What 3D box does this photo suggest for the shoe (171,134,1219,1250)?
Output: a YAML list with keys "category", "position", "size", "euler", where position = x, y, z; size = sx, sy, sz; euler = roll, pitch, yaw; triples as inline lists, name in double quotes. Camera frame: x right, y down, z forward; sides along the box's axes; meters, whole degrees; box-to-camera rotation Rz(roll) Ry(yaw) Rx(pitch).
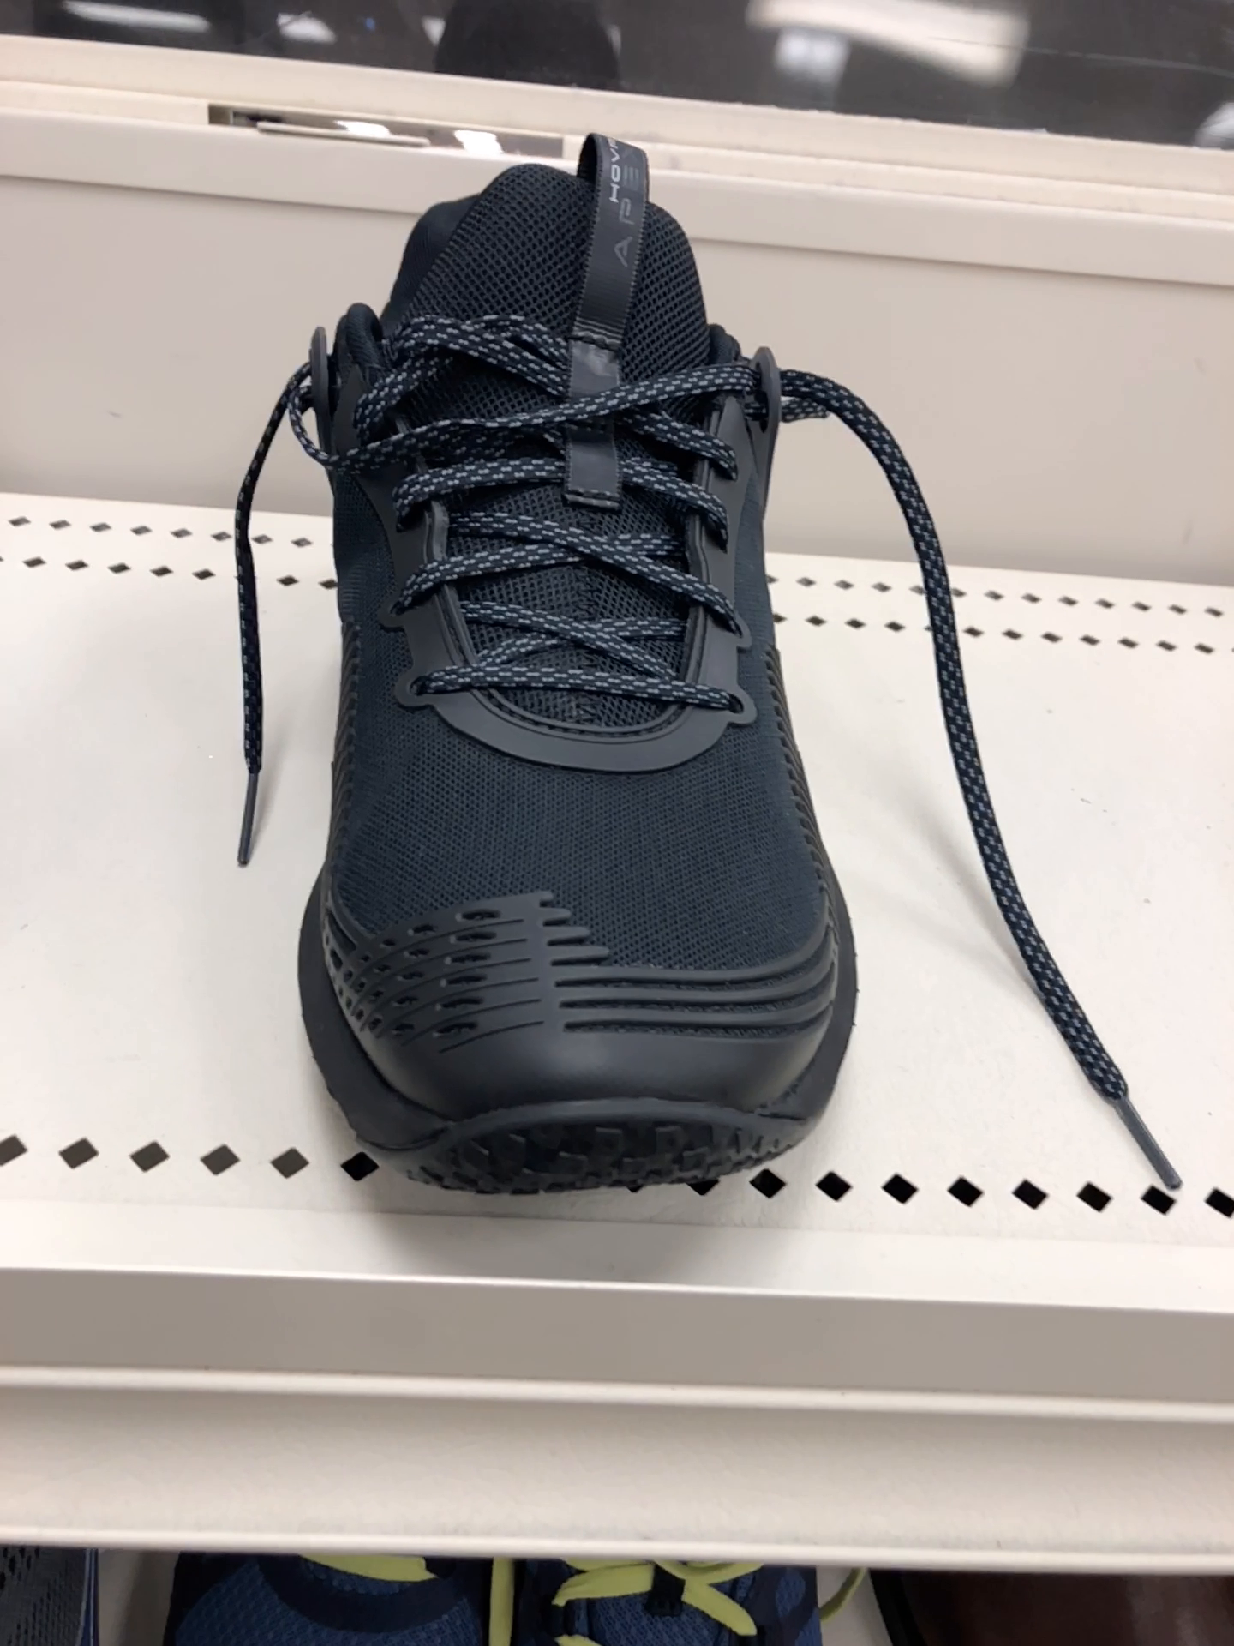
- category: "shoe"
  position: [-0.010, -0.078, 0.337]
  size: [0.120, 0.129, 0.353]
  euler: [2, 30, -7]
